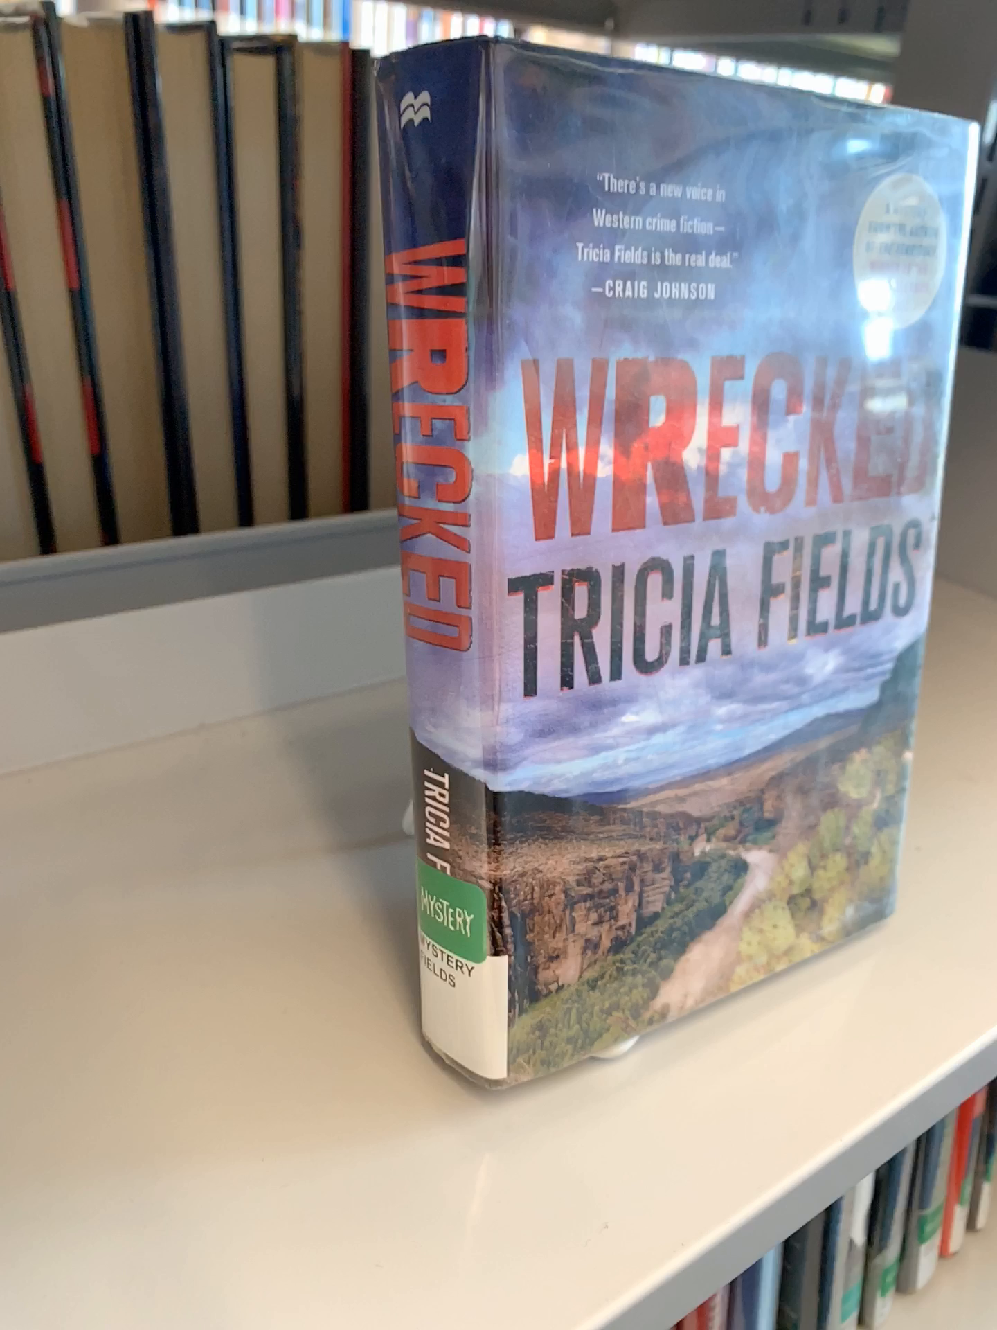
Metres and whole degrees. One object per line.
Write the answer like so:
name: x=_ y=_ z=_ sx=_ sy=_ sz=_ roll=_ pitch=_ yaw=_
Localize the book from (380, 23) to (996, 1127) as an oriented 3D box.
book: x=0.051 y=-0.018 z=0.250 sx=0.150 sy=0.213 sz=0.034 roll=-11 pitch=20 yaw=-31
